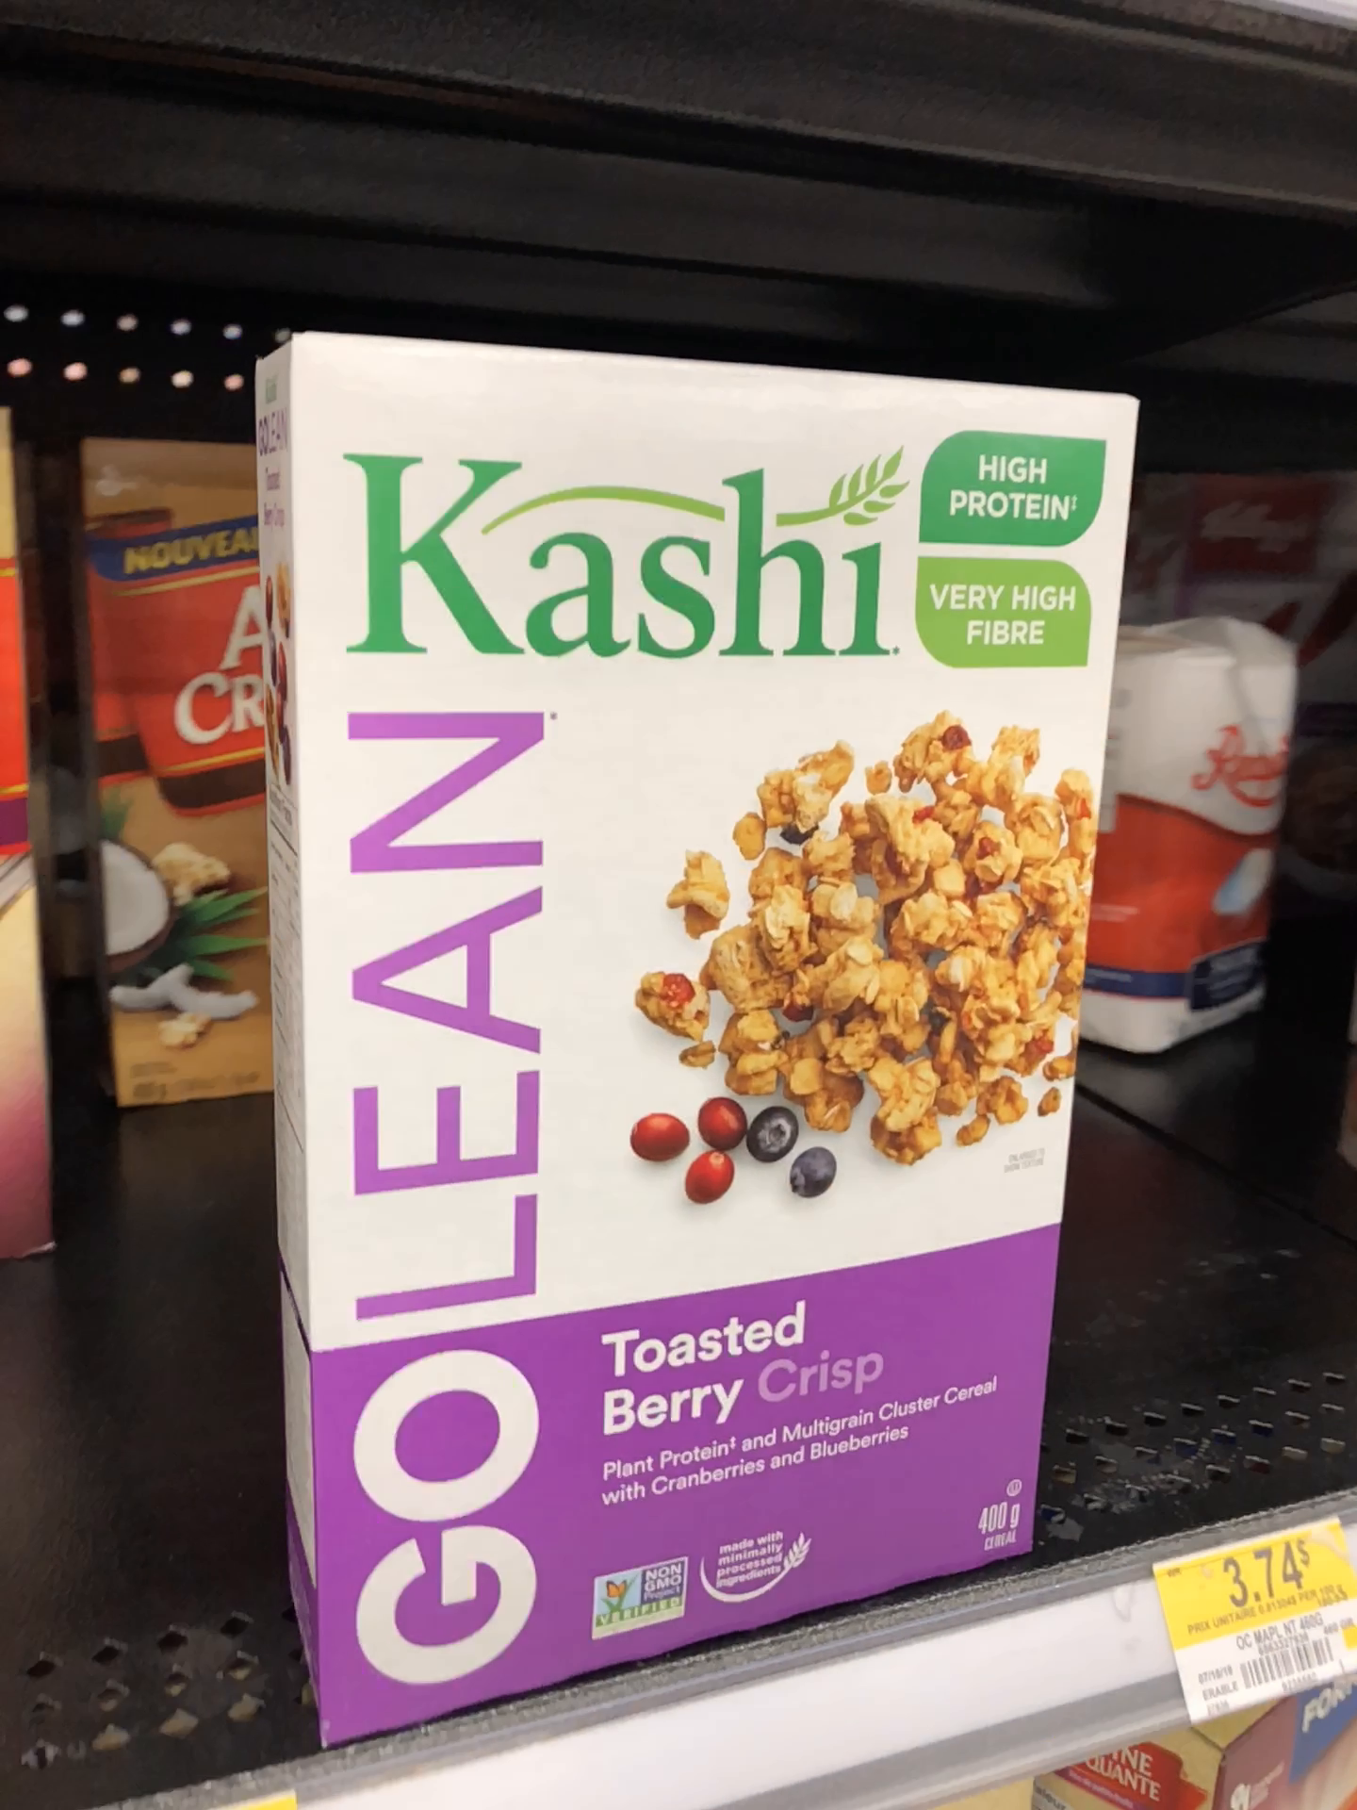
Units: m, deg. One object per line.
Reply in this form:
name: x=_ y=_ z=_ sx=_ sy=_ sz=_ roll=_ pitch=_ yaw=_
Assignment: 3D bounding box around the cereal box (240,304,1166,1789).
cereal box: x=0.003 y=0.028 z=0.316 sx=0.170 sy=0.269 sz=0.050 roll=-4 pitch=14 yaw=-24
